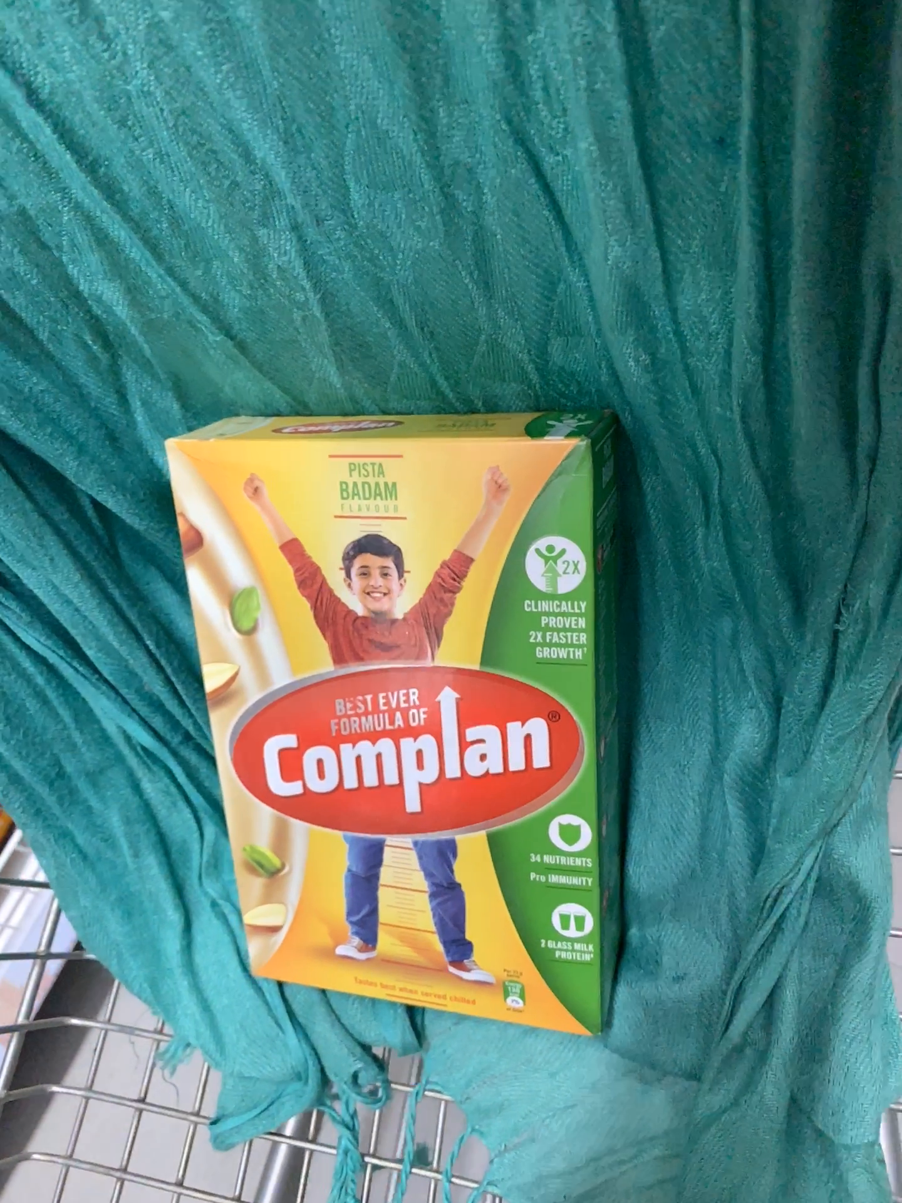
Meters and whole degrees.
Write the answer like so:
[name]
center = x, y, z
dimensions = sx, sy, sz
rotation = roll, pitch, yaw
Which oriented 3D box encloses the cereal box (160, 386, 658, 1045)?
[cereal box]
center = -0.005, 0.035, 0.316
dimensions = 0.140, 0.060, 0.200
rotation = 1, 108, 18
